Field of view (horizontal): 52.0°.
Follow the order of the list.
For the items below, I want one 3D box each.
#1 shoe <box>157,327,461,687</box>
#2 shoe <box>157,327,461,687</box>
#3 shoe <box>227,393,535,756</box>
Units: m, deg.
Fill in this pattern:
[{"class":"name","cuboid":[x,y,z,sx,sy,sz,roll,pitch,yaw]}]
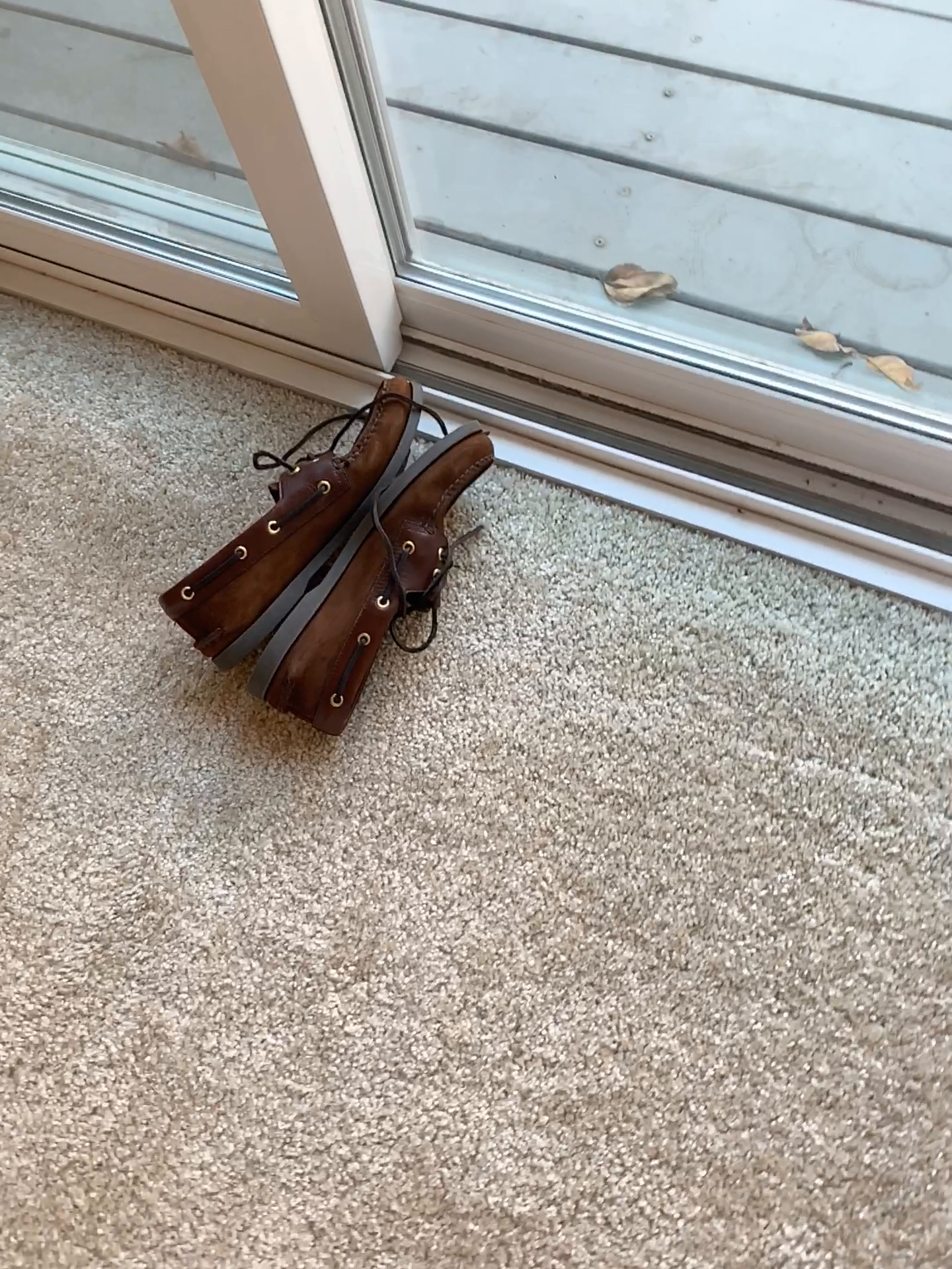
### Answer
[{"class":"shoe","cuboid":[-0.136,-0.102,0.813,0.090,0.110,0.280,35,76,-5]},{"class":"shoe","cuboid":[-0.136,-0.102,0.813,0.090,0.110,0.280,35,76,-5]},{"class":"shoe","cuboid":[-0.071,-0.045,0.786,0.090,0.110,0.270,34,77,4]}]
